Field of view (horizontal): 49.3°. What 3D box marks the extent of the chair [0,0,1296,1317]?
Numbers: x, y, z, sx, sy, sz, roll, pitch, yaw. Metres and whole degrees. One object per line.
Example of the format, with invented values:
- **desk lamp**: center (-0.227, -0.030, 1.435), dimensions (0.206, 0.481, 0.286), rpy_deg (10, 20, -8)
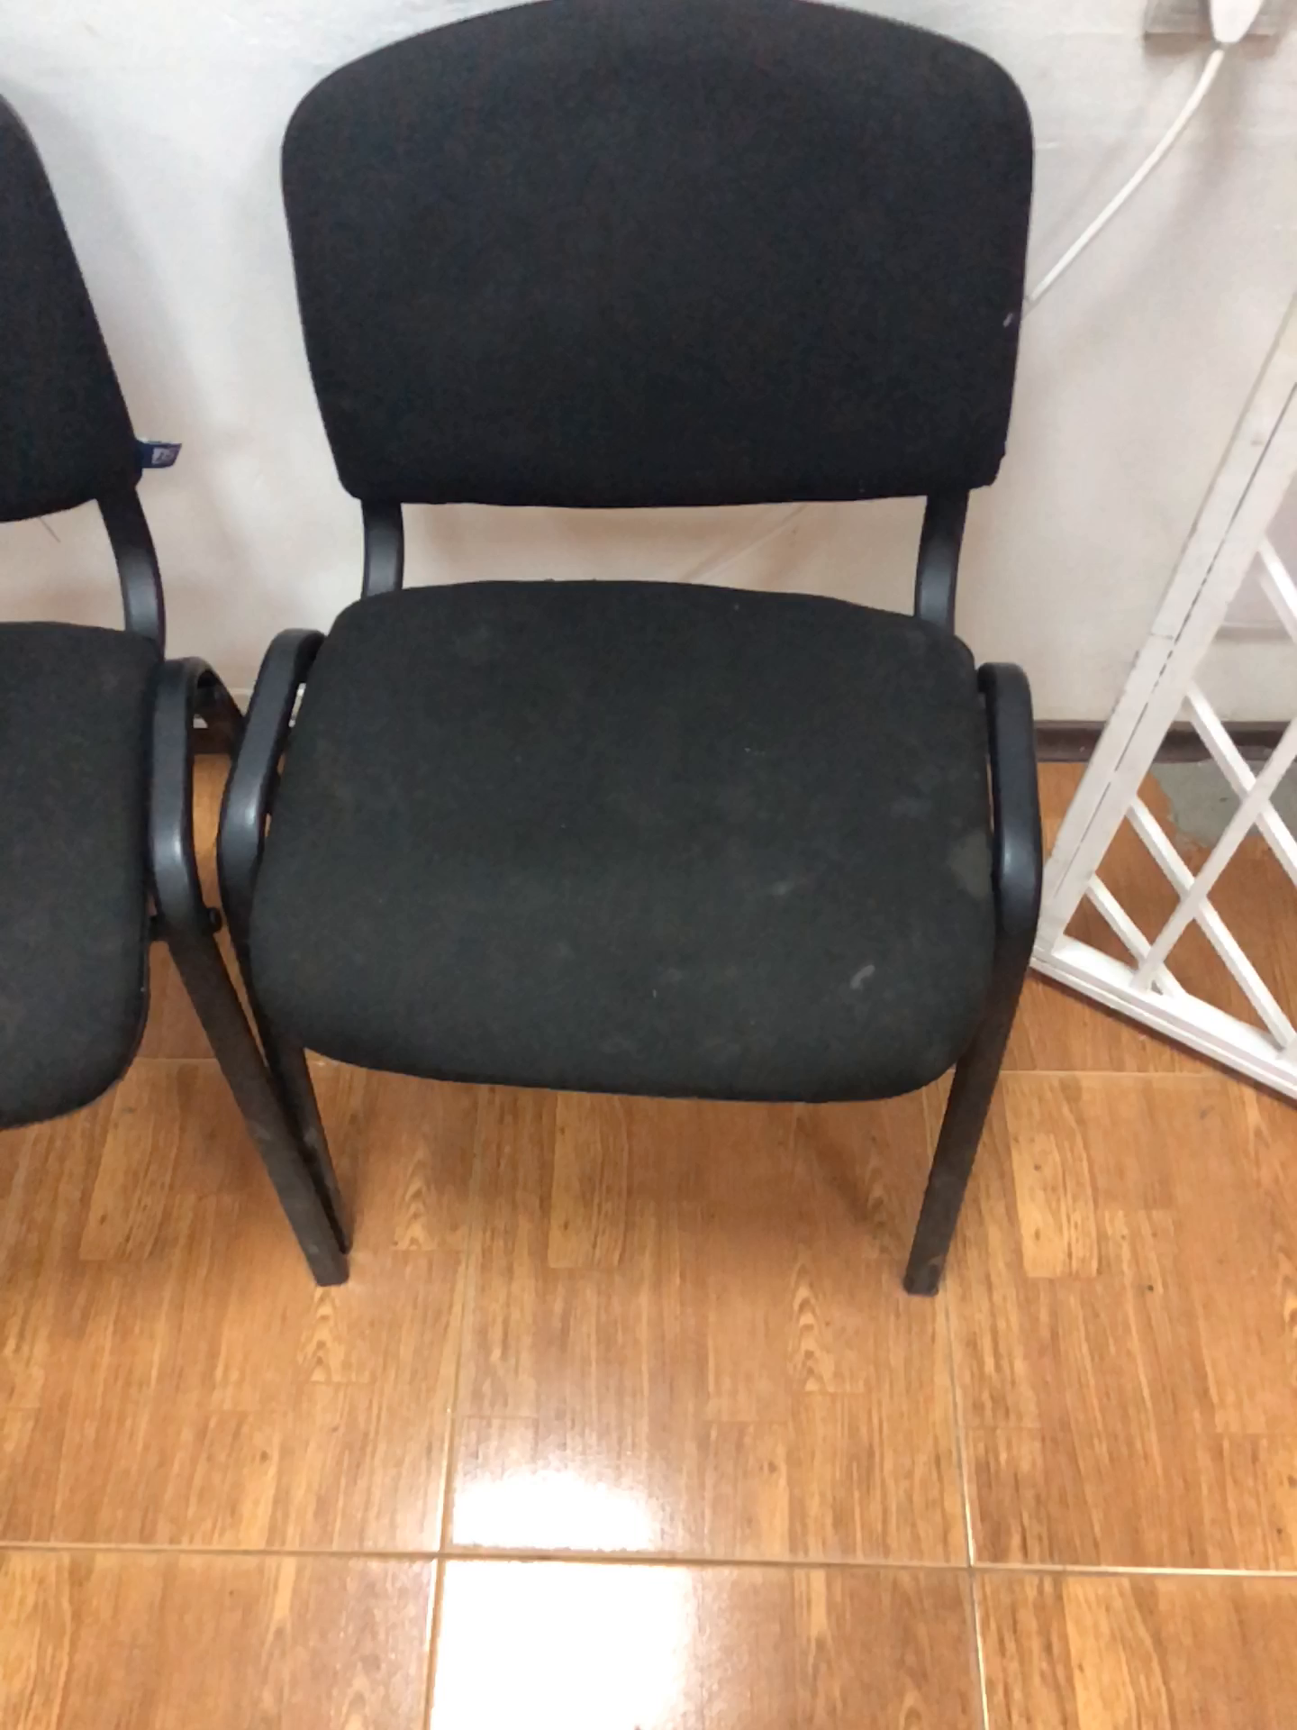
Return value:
- **chair**: center (-0.002, -0.071, 0.929), dimensions (0.520, 0.748, 0.511), rpy_deg (1, 58, 2)
